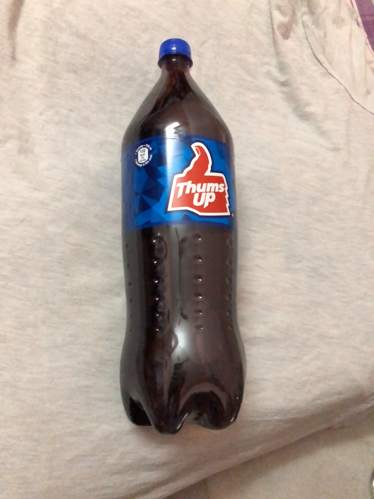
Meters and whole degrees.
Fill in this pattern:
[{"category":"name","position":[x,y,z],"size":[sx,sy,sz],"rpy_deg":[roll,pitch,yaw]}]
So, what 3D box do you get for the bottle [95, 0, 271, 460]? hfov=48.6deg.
[{"category":"bottle","position":[-0.010,-0.028,0.295],"size":[0.100,0.060,0.300],"rpy_deg":[1,79,-20]}]
